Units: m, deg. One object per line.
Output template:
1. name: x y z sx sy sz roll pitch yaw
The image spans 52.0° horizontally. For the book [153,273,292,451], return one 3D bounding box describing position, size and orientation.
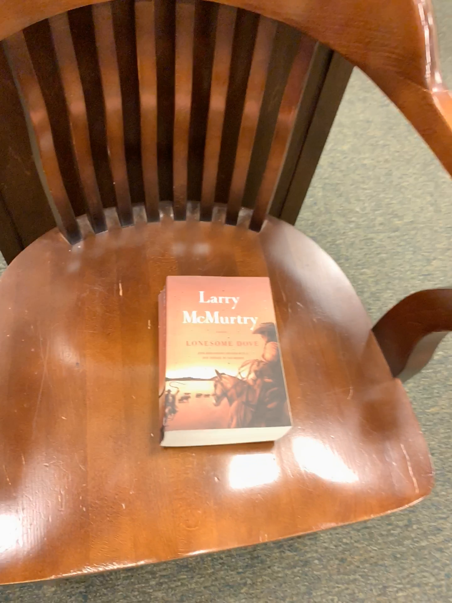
1. book: -0.013 0.063 0.547 0.140 0.060 0.201 0 55 -7
